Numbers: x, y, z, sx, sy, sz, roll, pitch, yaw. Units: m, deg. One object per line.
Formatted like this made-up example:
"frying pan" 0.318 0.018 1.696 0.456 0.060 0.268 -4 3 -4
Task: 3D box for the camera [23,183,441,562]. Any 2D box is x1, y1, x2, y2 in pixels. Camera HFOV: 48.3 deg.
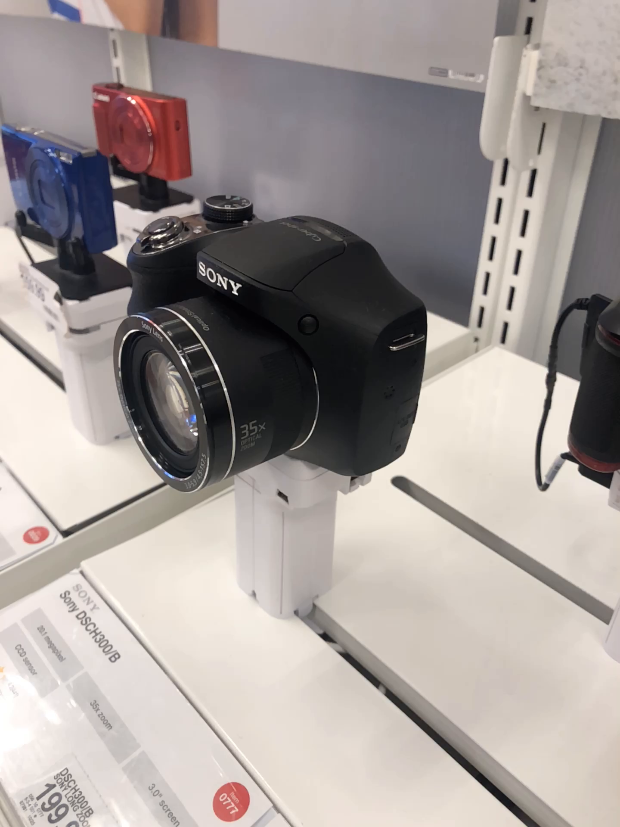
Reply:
"camera" -0.030 -0.026 0.256 0.087 0.076 0.120 -27 43 -35
